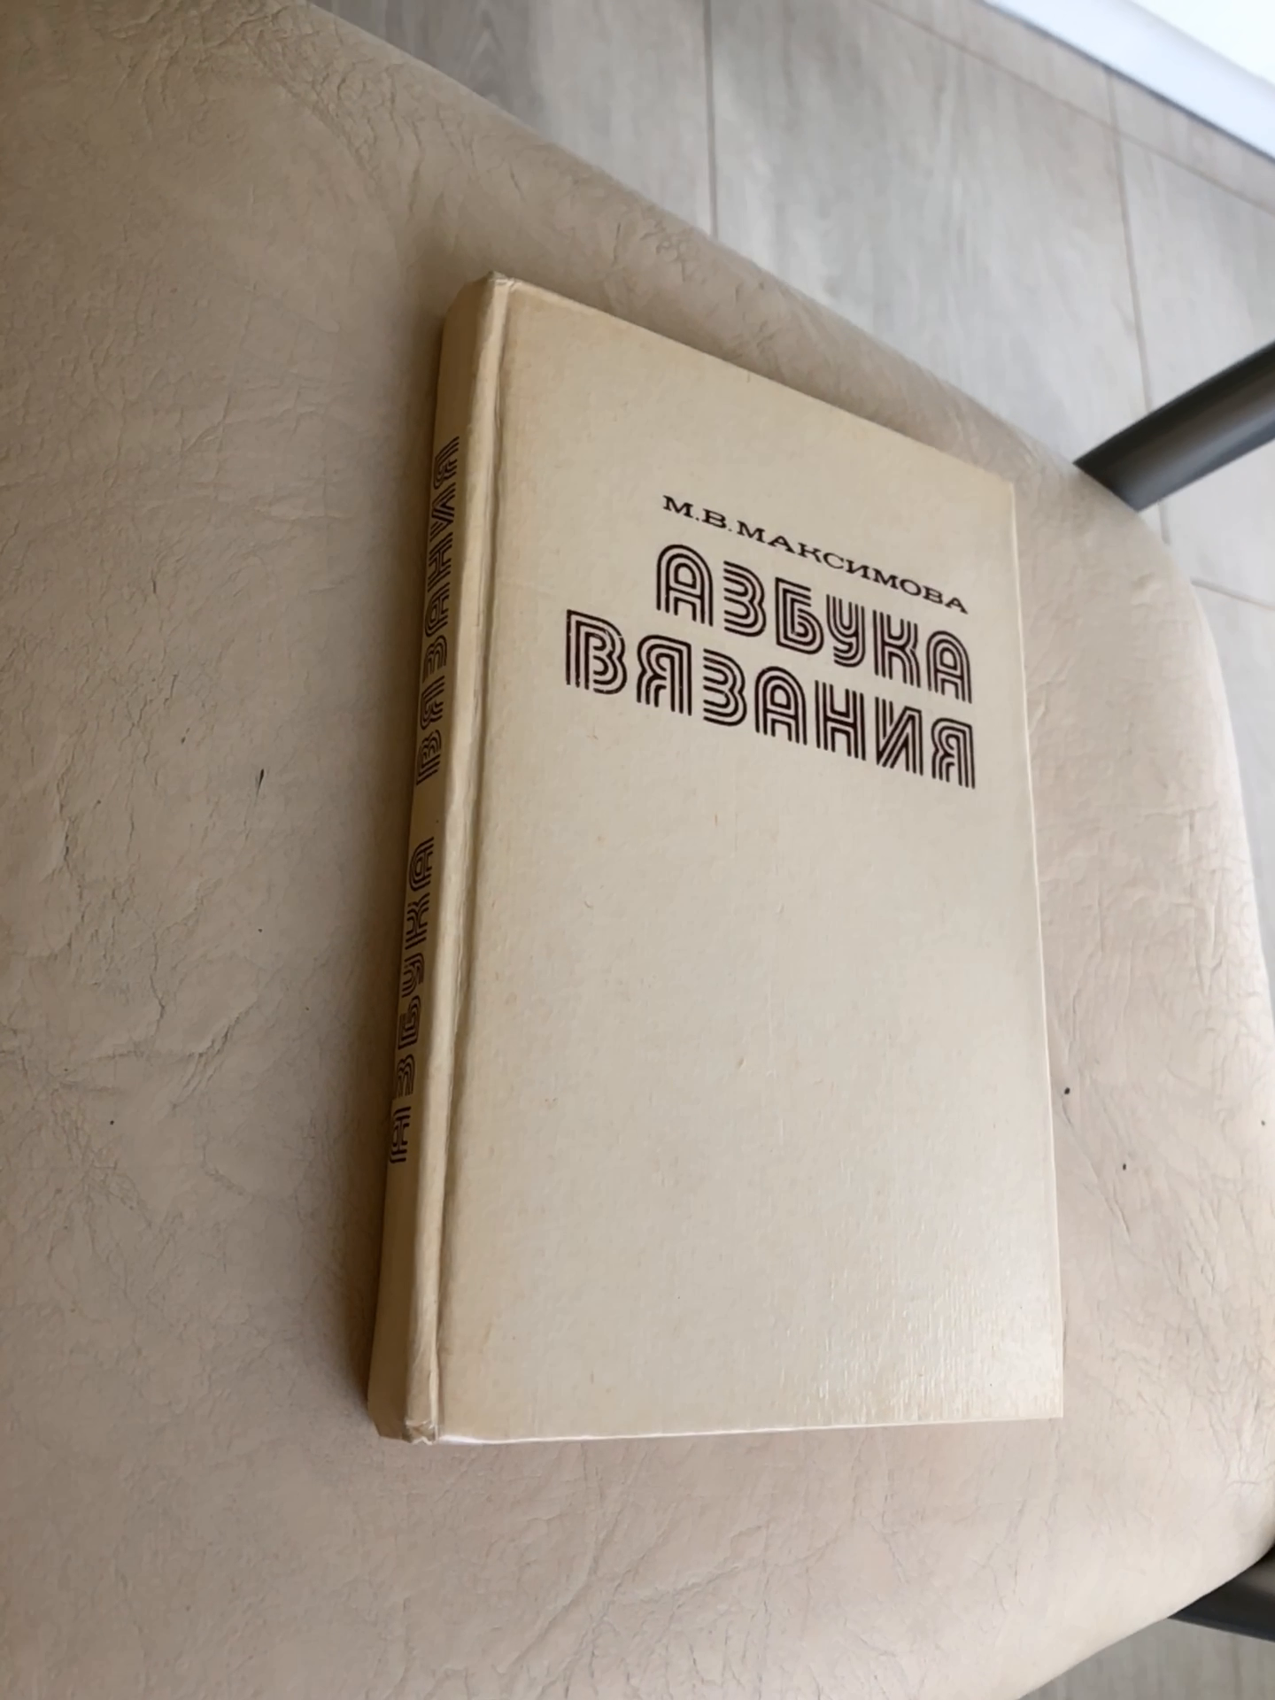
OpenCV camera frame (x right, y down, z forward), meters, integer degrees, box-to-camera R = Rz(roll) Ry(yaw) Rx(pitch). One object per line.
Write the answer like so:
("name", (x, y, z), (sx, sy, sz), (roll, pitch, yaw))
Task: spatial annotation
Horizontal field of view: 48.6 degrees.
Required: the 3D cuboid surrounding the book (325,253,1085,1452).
("book", (0.023, 0.002, 0.290), (0.149, 0.024, 0.218), (12, 70, -28))
